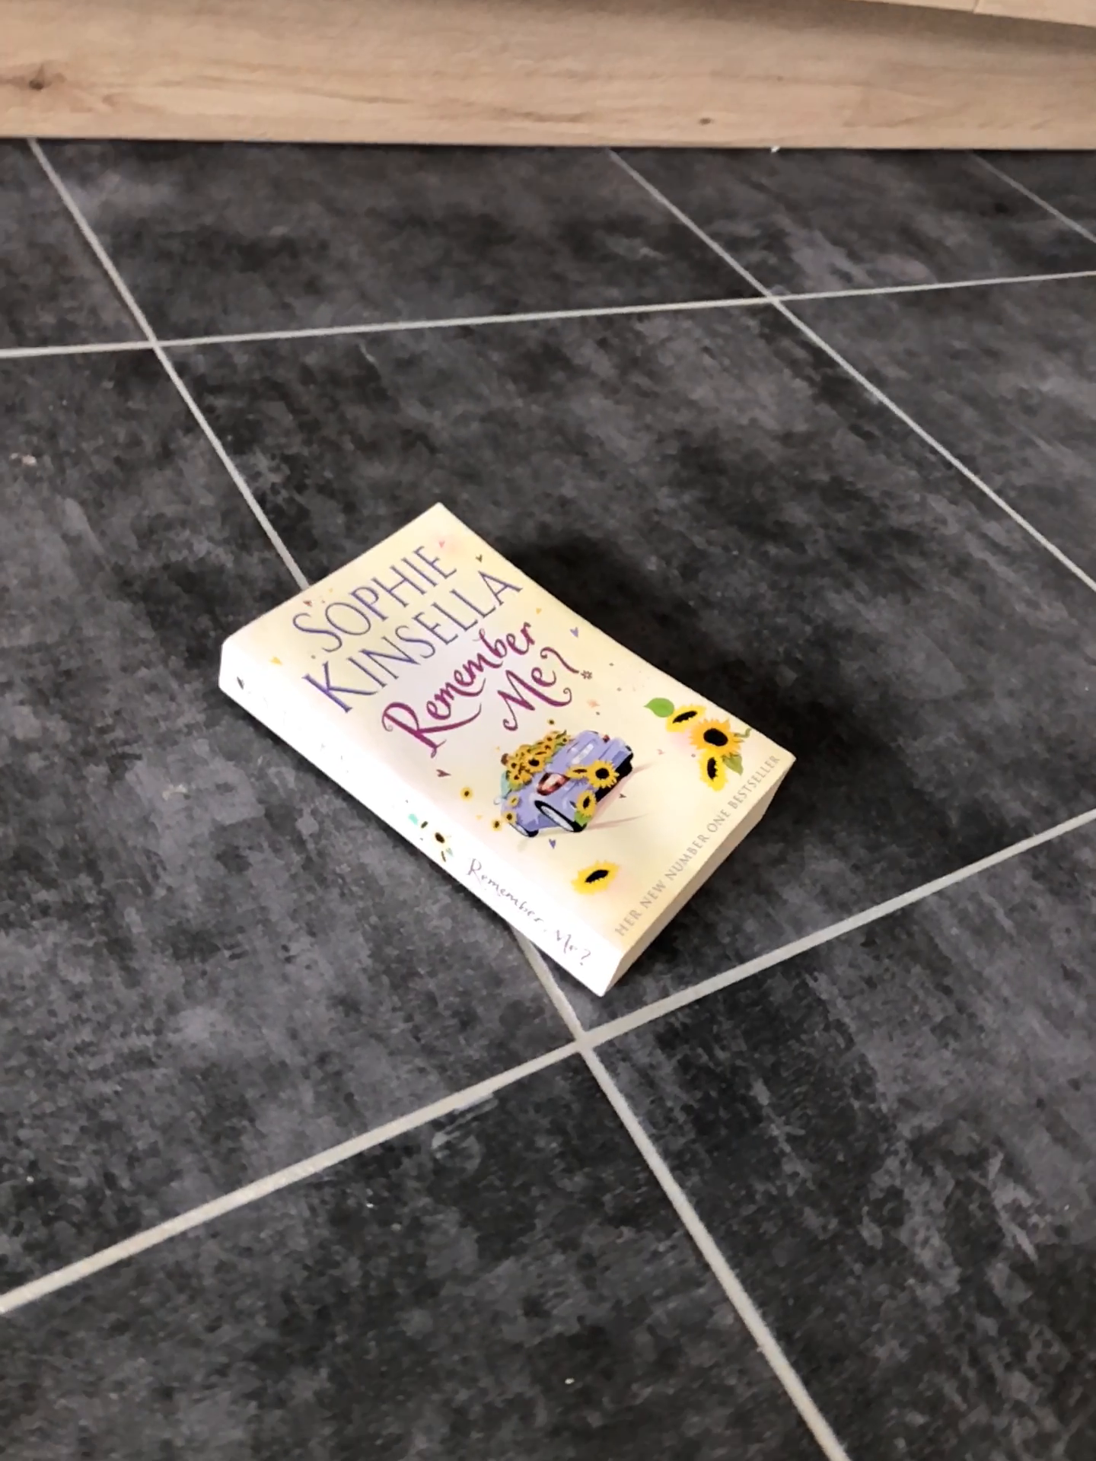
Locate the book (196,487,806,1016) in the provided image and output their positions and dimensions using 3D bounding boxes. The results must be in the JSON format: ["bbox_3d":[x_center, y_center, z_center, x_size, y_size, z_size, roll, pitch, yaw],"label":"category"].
[{"bbox_3d":[-0.019,-0.003,0.477,0.200,0.040,0.131,36,51,16],"label":"book"}]
